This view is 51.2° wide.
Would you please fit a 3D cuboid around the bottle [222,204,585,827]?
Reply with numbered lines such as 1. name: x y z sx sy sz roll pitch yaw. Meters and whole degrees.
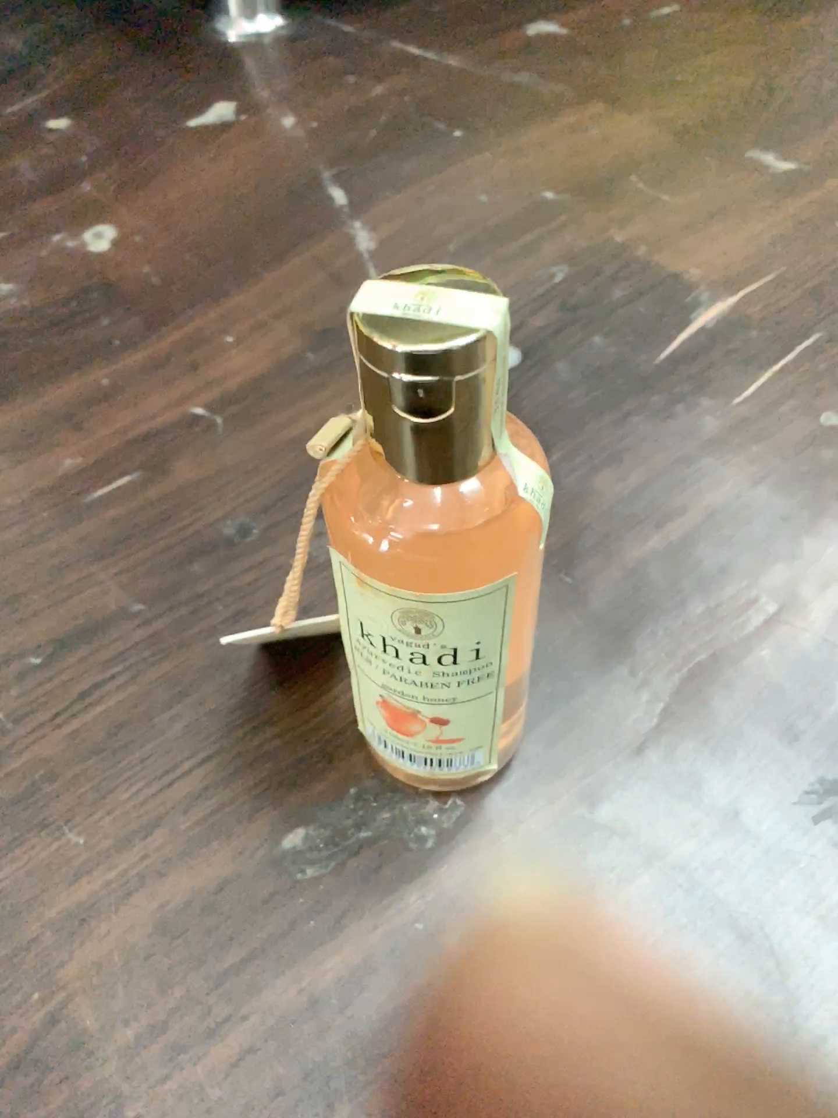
1. bottle: 0.002 0.003 0.204 0.050 0.150 0.050 -1 50 1
